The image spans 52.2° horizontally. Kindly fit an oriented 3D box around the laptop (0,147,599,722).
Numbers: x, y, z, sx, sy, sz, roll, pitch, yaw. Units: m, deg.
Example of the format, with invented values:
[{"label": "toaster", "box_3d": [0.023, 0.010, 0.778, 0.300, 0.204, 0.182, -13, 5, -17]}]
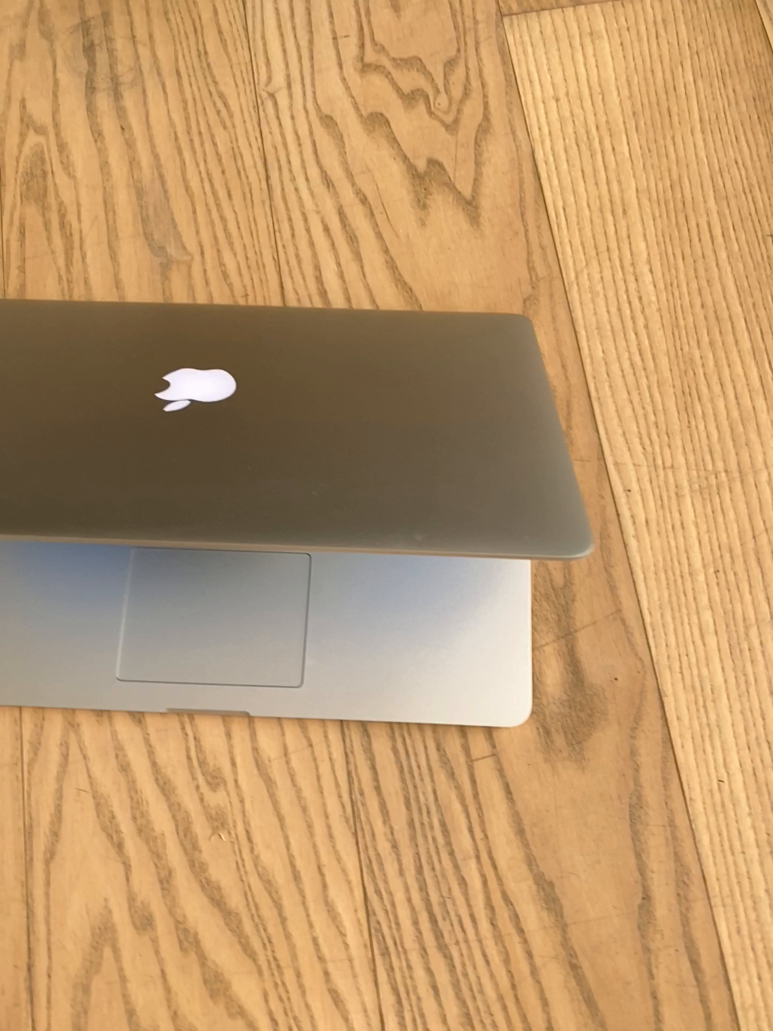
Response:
[{"label": "laptop", "box_3d": [-0.094, -0.025, 0.400, 0.361, 0.157, 0.236, 2, 76, 1]}]
